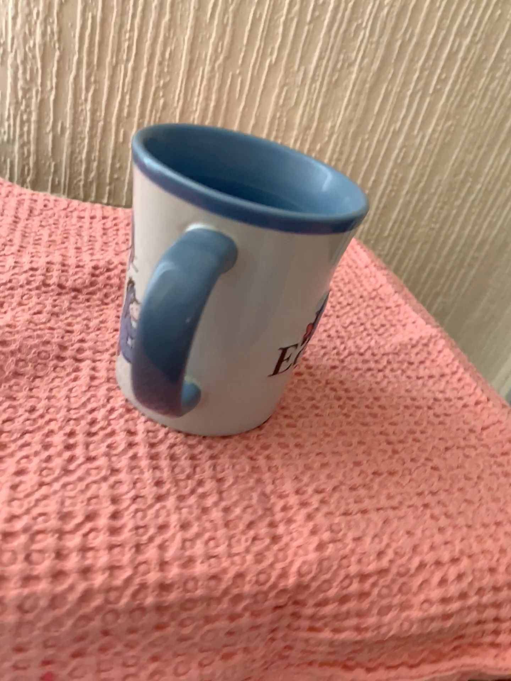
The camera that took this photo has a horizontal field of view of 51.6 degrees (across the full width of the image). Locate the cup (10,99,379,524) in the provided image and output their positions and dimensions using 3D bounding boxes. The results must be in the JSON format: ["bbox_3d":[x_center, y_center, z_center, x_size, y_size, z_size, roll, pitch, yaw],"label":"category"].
[{"bbox_3d":[-0.017,-0.021,0.201,0.090,0.099,0.111,20,31,3],"label":"cup"}]
